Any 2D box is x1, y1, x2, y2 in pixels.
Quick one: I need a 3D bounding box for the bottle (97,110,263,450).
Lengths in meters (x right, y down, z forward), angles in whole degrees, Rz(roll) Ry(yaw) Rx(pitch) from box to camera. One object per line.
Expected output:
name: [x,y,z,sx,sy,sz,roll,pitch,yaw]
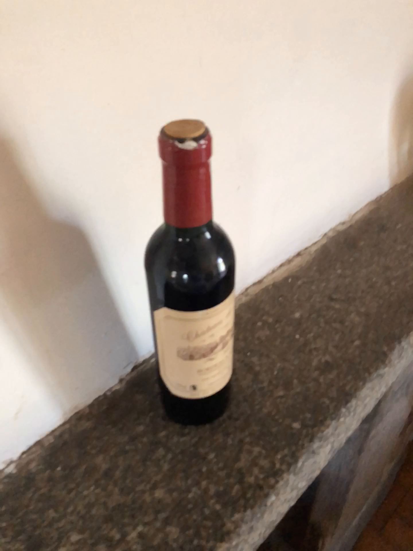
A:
bottle: [-0.008,0.019,0.301,0.060,0.228,0.060,-2,40,1]
